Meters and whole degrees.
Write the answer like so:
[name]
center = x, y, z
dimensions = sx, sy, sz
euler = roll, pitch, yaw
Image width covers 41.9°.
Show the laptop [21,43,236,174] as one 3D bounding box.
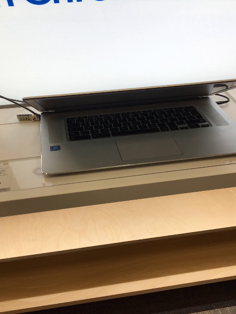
[laptop]
center = 0.034, -0.113, 0.624
dimensions = 0.403, 0.158, 0.245
euler = -8, 38, -8
